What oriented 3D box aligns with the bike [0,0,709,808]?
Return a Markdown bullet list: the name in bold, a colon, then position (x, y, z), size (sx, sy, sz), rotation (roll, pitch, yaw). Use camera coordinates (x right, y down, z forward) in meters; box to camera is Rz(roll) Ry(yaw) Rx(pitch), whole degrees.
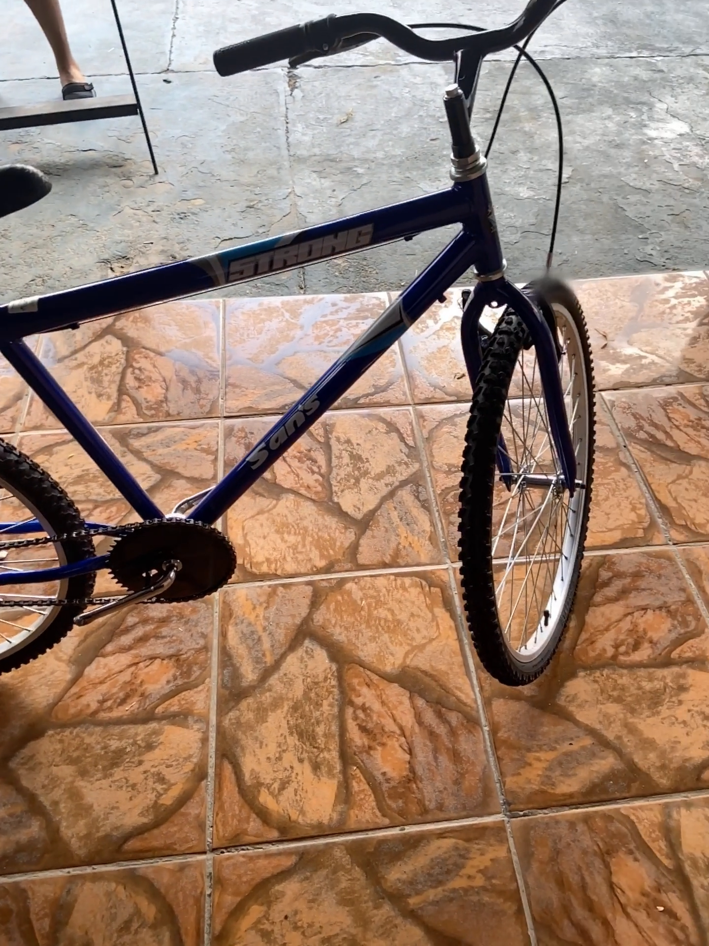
- **bike**: position (-0.311, -0.185, 1.121), size (1.526, 1.014, 0.574), rotation (-13, 52, -13)
